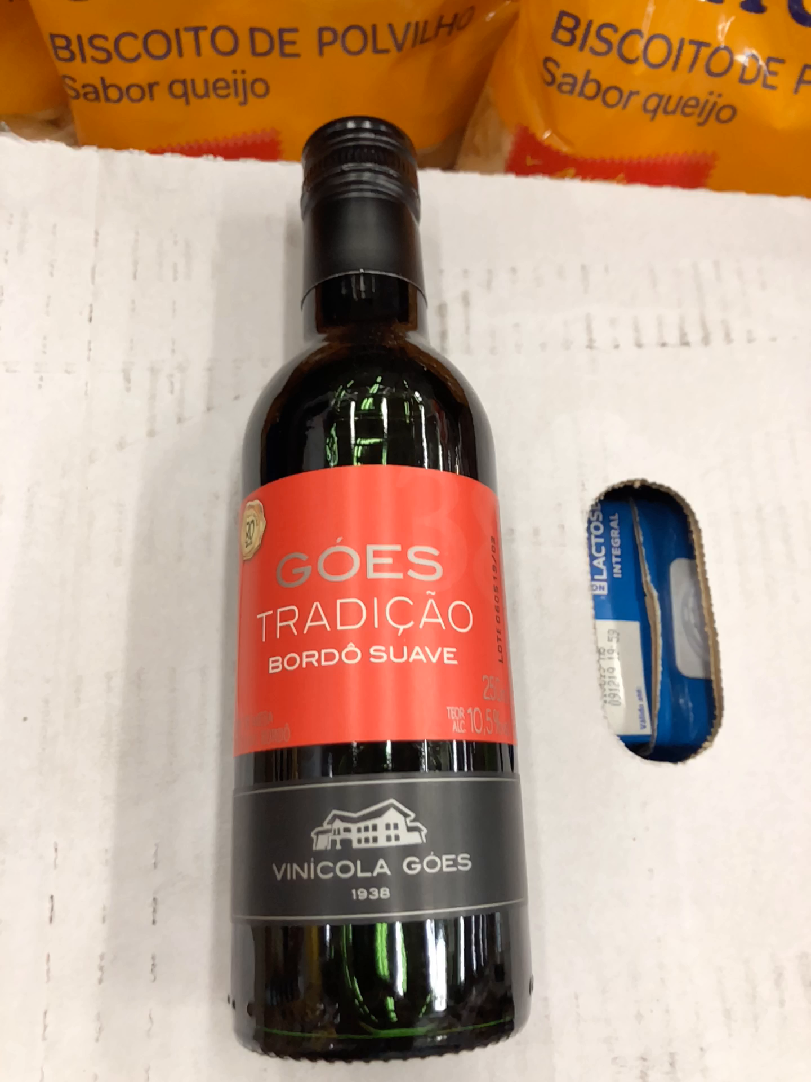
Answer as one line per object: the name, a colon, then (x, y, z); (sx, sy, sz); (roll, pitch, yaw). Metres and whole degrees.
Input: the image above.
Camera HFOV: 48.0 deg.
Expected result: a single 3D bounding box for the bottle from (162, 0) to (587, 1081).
bottle: (-0.015, -0.018, 0.184); (0.060, 0.050, 0.210); (-2, 72, -9)
